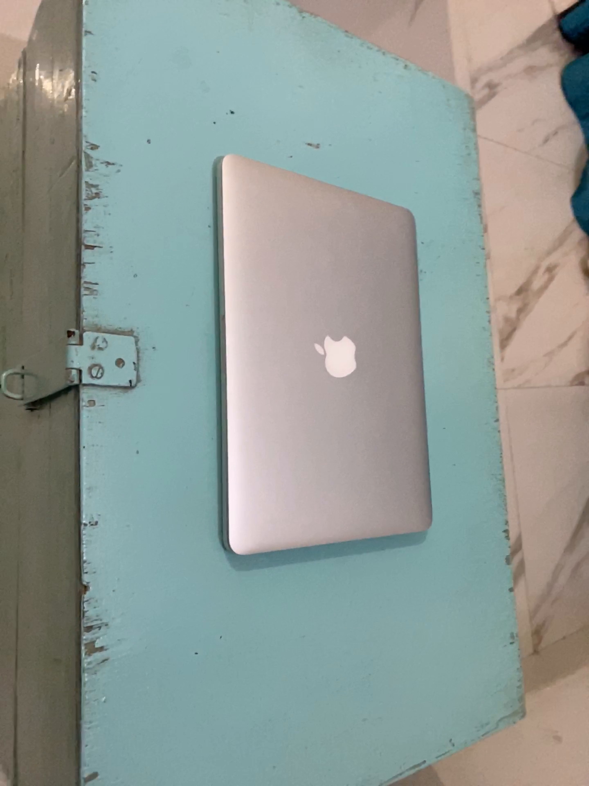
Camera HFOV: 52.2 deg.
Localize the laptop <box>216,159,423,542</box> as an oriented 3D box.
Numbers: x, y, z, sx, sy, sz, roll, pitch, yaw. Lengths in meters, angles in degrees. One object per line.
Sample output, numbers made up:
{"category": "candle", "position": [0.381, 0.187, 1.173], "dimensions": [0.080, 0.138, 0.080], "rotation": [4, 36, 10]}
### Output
{"category": "laptop", "position": [0.030, -0.031, 0.520], "dimensions": [0.210, 0.007, 0.291], "rotation": [2, 83, -38]}
